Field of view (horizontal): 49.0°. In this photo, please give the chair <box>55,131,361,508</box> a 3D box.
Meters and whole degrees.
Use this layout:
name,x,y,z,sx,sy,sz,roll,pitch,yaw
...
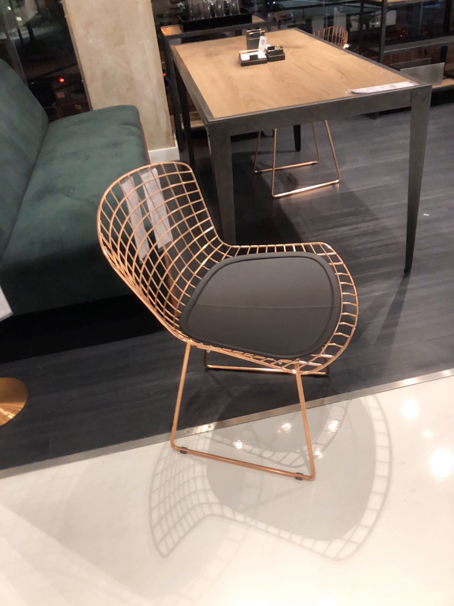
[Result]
name,x,y,z,sx,sy,sz,roll,pitch,yaw
chair,0.041,0.030,1.273,0.540,0.745,0.524,3,37,14
